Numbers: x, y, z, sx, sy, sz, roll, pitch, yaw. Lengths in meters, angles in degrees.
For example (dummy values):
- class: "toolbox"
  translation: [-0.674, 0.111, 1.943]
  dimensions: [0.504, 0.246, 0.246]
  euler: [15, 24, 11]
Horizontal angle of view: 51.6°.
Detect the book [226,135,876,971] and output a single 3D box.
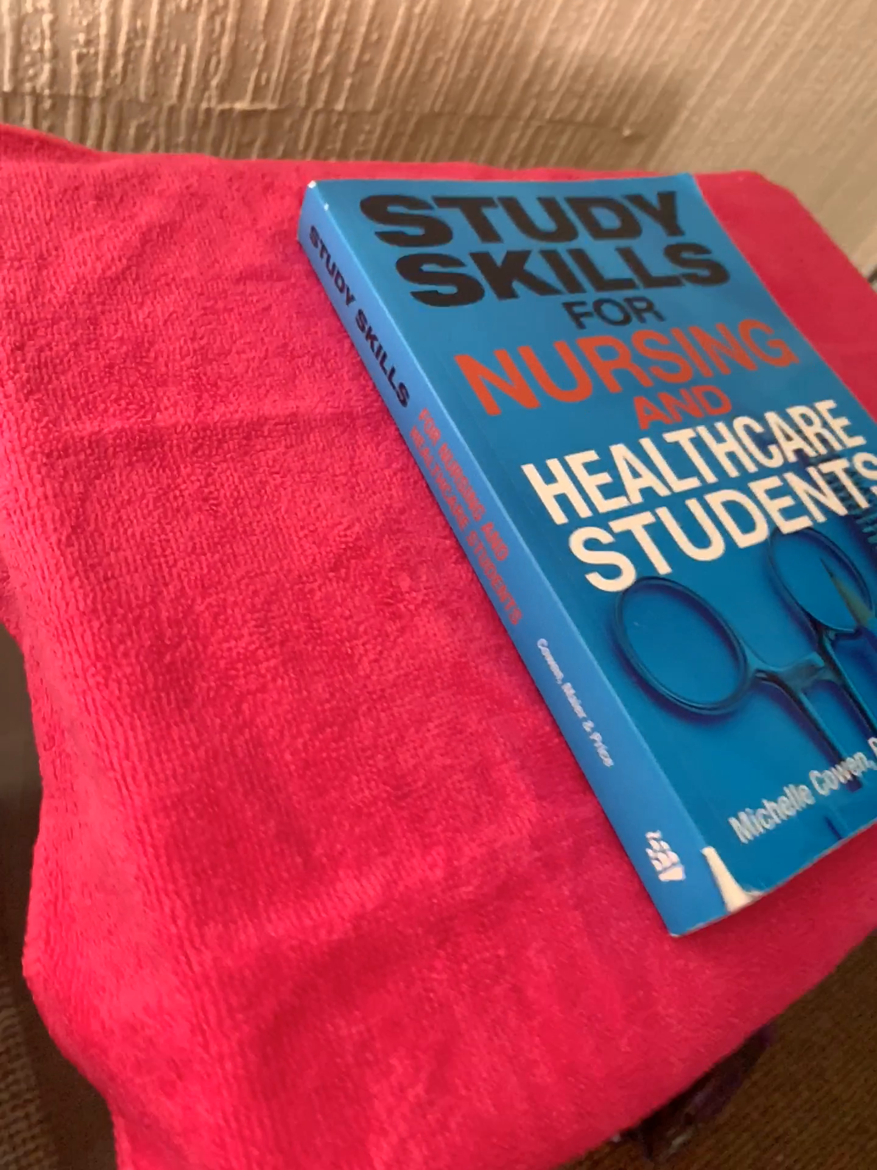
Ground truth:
- class: "book"
  translation: [0.074, -0.048, 0.311]
  dimensions: [0.201, 0.040, 0.271]
  euler: [-14, 63, -32]
